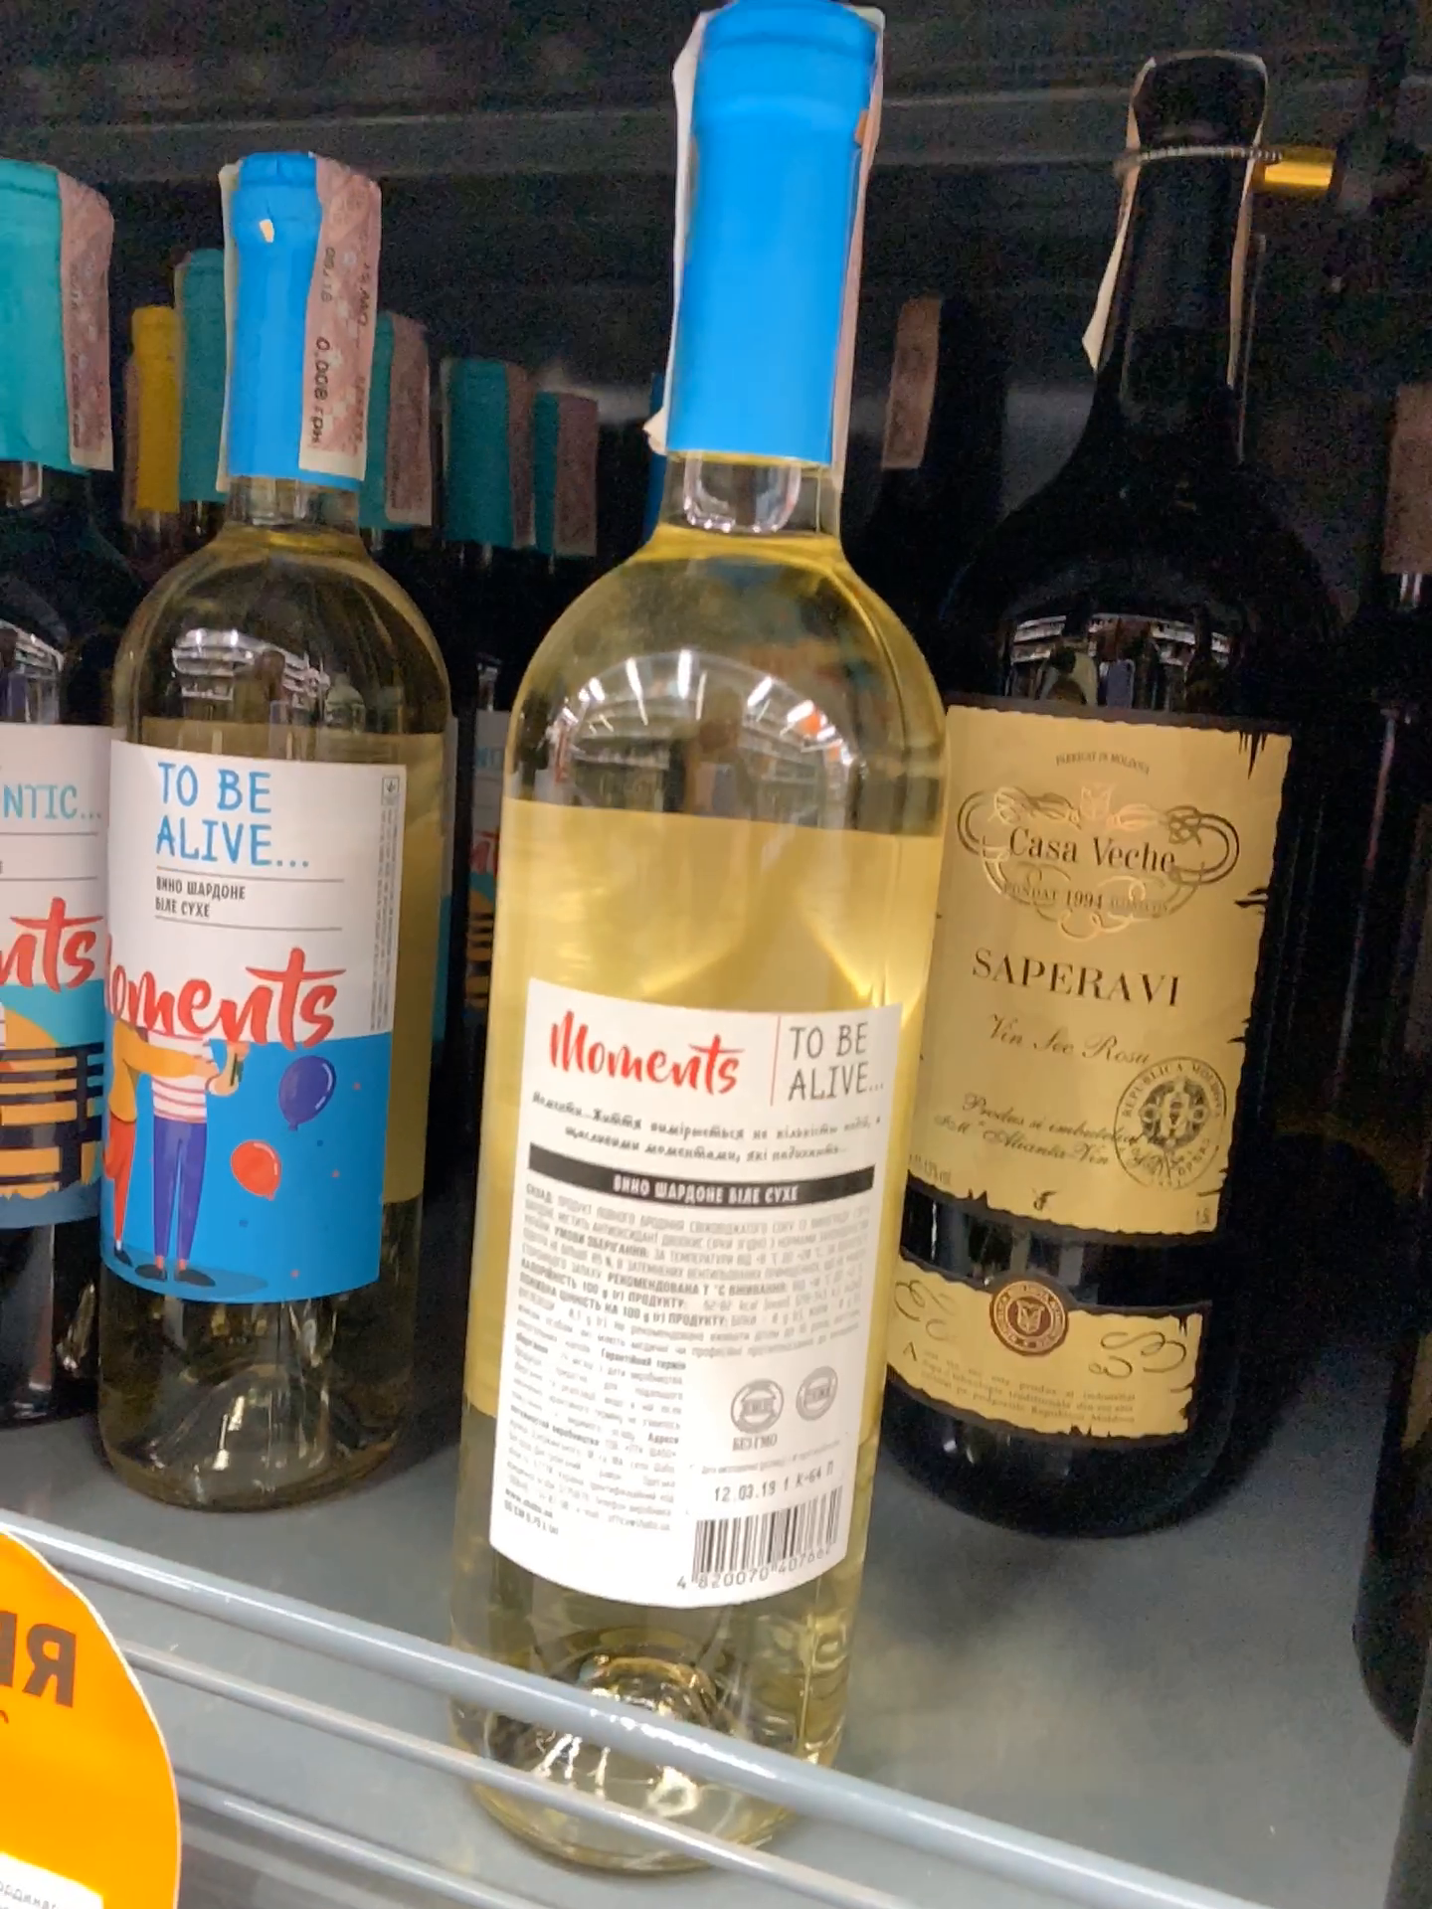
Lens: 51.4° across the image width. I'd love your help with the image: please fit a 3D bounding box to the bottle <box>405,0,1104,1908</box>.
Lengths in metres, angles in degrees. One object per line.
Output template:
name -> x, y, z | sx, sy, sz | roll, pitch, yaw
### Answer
bottle -> -0.001, -0.004, 0.260 | 0.080, 0.313, 0.081 | 4, 11, -1
